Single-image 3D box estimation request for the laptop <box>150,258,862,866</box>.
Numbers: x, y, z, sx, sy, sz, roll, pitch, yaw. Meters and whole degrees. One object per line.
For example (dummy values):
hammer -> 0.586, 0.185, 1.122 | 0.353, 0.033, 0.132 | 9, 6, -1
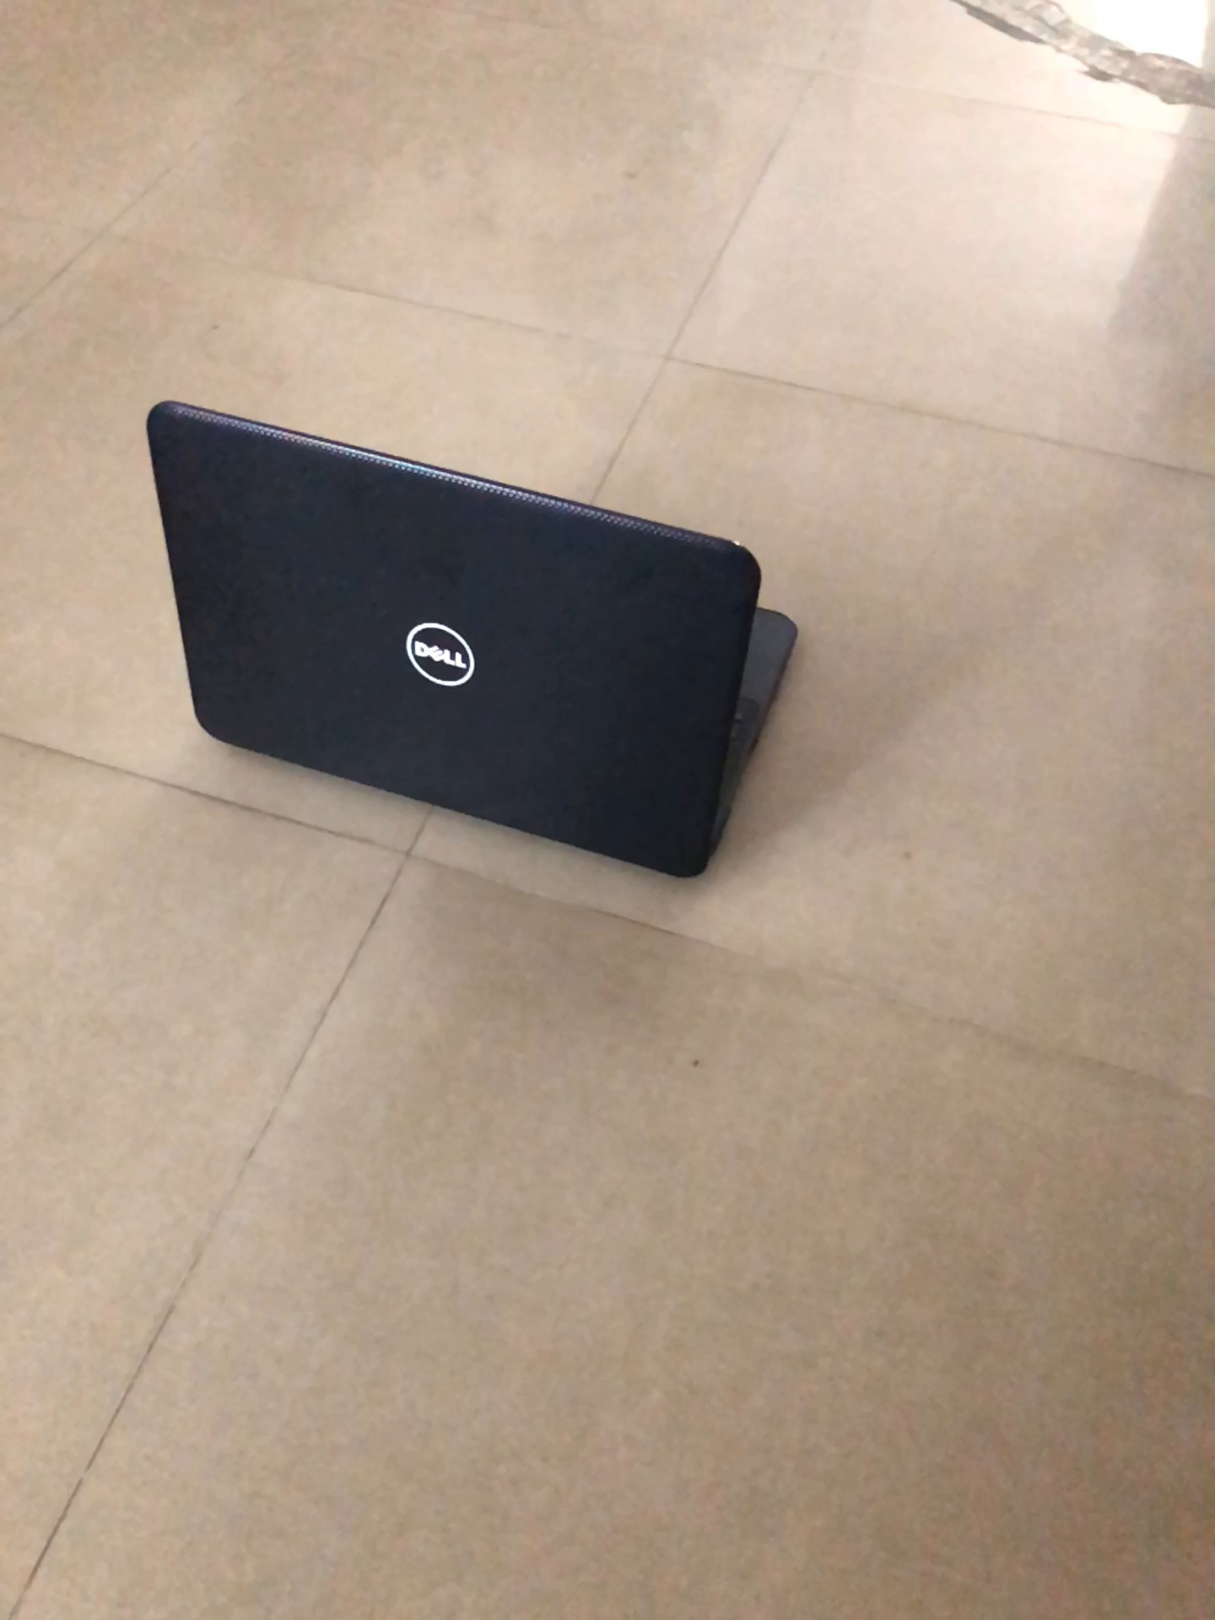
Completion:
laptop -> -0.050, -0.168, 0.879 | 0.351, 0.227, 0.248 | 16, 52, 11
